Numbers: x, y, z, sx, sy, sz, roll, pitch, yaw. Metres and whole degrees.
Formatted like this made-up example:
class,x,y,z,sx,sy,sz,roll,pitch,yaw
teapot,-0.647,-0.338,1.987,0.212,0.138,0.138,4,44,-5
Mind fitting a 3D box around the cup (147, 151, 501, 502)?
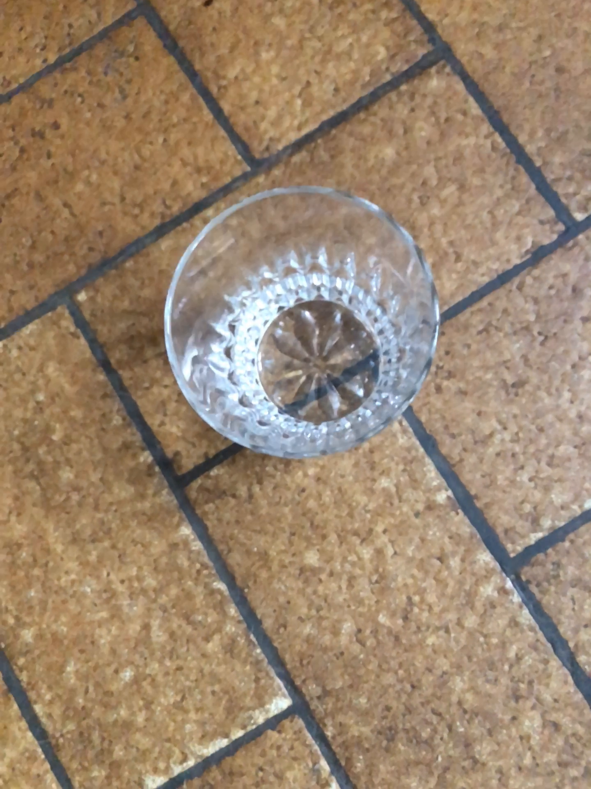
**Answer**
class,x,y,z,sx,sy,sz,roll,pitch,yaw
cup,0.010,-0.015,0.227,0.080,0.090,0.080,-1,84,6
